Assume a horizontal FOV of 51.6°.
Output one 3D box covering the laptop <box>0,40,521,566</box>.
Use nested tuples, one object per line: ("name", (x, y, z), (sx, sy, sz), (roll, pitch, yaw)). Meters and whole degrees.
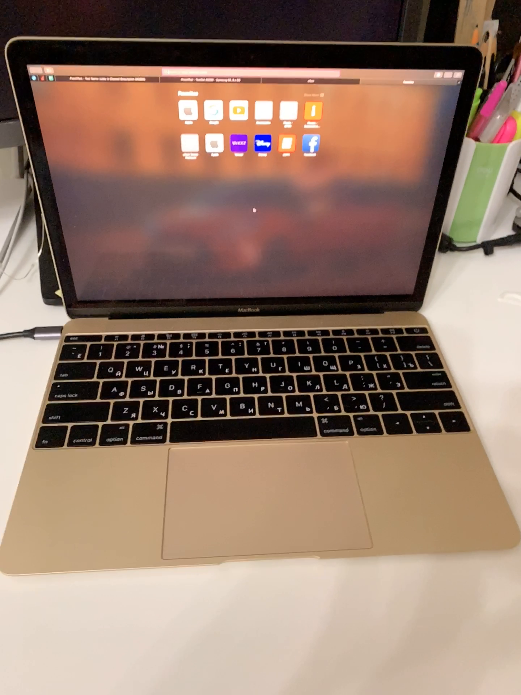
("laptop", (-0.002, -0.033, 0.271), (0.247, 0.169, 0.198), (-2, 43, -4))
